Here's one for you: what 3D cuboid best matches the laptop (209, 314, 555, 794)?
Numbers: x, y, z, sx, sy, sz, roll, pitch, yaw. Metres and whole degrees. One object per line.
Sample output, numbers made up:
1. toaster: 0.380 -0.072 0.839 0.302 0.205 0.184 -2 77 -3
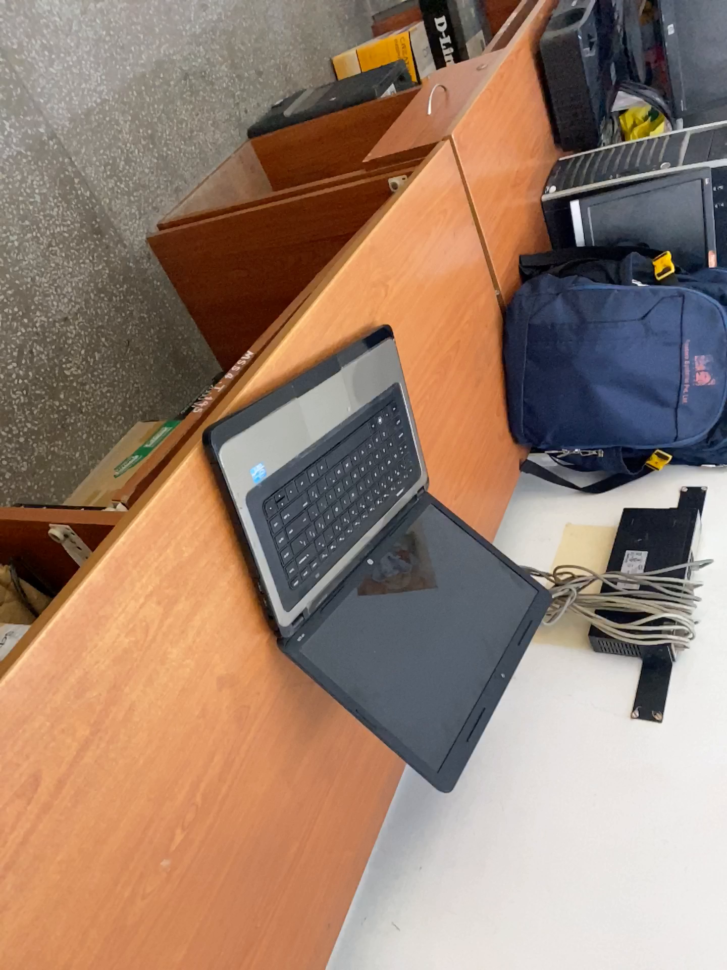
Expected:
1. laptop: 0.065 0.059 0.905 0.384 0.158 0.426 -42 124 -48
